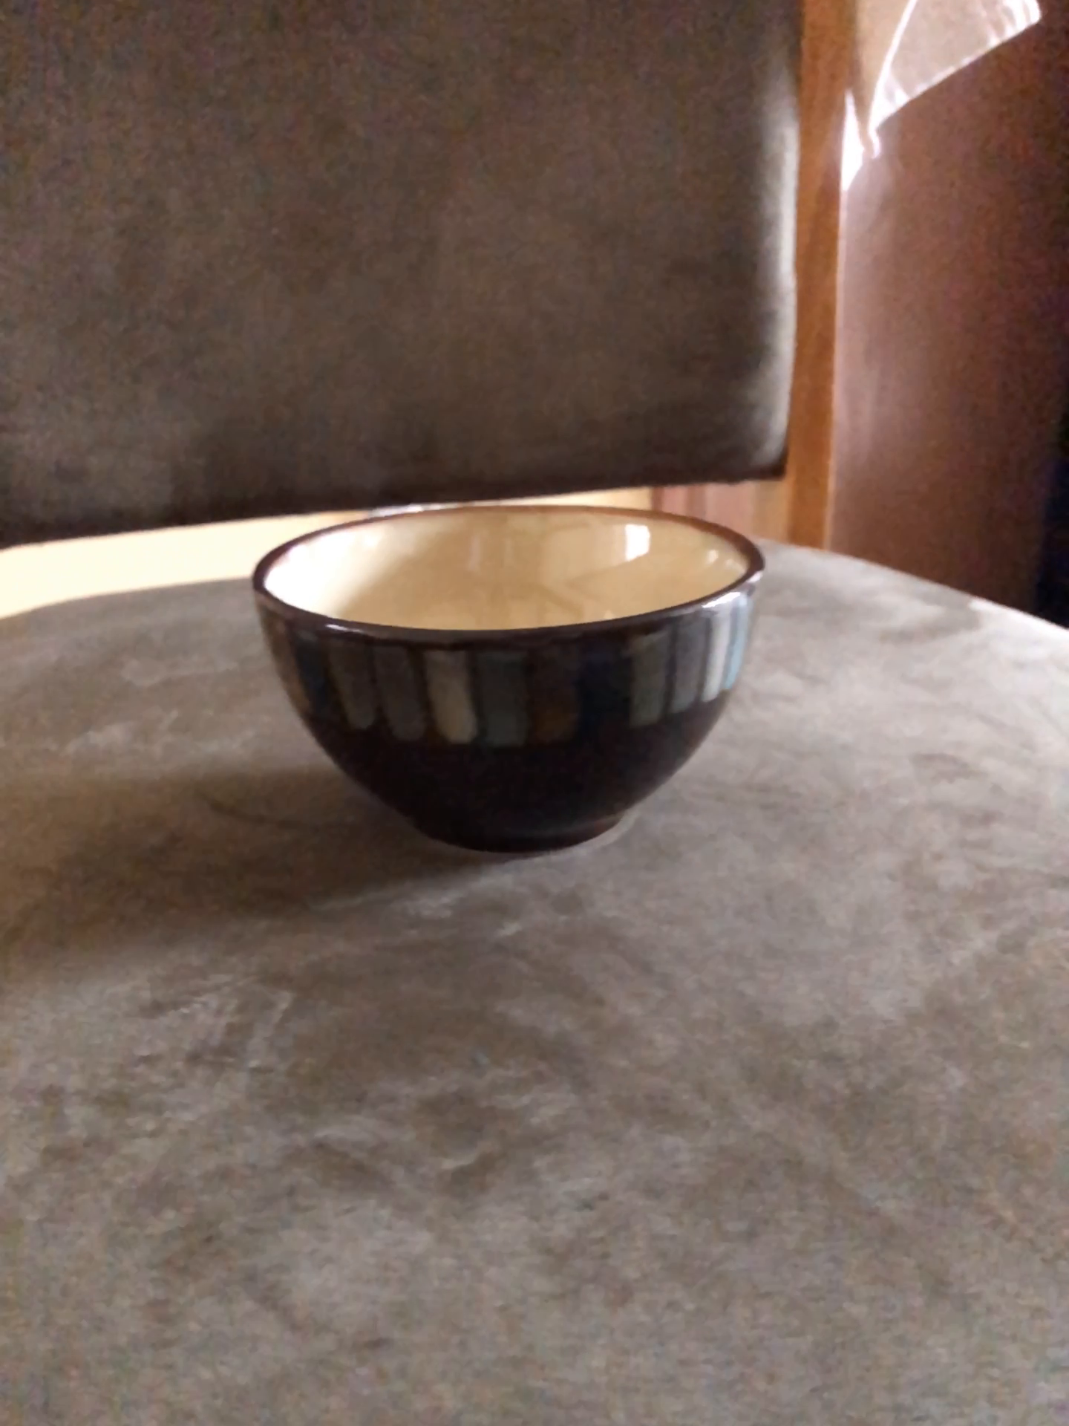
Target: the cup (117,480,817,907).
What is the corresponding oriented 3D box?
[{"bbox_3d":[-0.007,-0.015,0.267,0.114,0.044,0.109,-1,23,0],"label":"cup"}]
